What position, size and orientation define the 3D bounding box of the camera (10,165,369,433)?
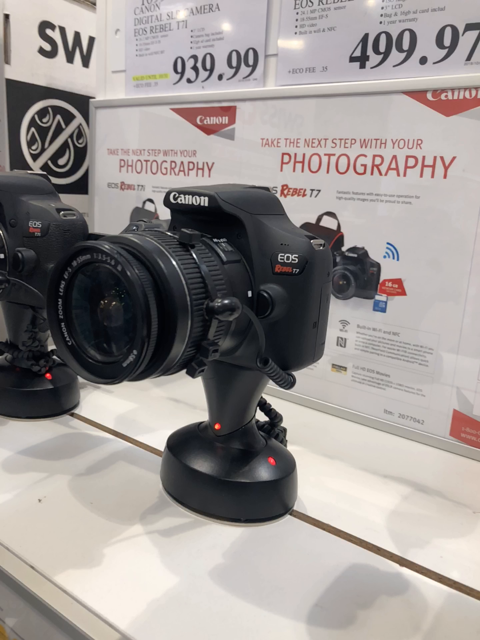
[{"bbox_3d":[-0.024,-0.026,0.293,0.130,0.100,0.140,13,16,35],"label":"camera"}]
